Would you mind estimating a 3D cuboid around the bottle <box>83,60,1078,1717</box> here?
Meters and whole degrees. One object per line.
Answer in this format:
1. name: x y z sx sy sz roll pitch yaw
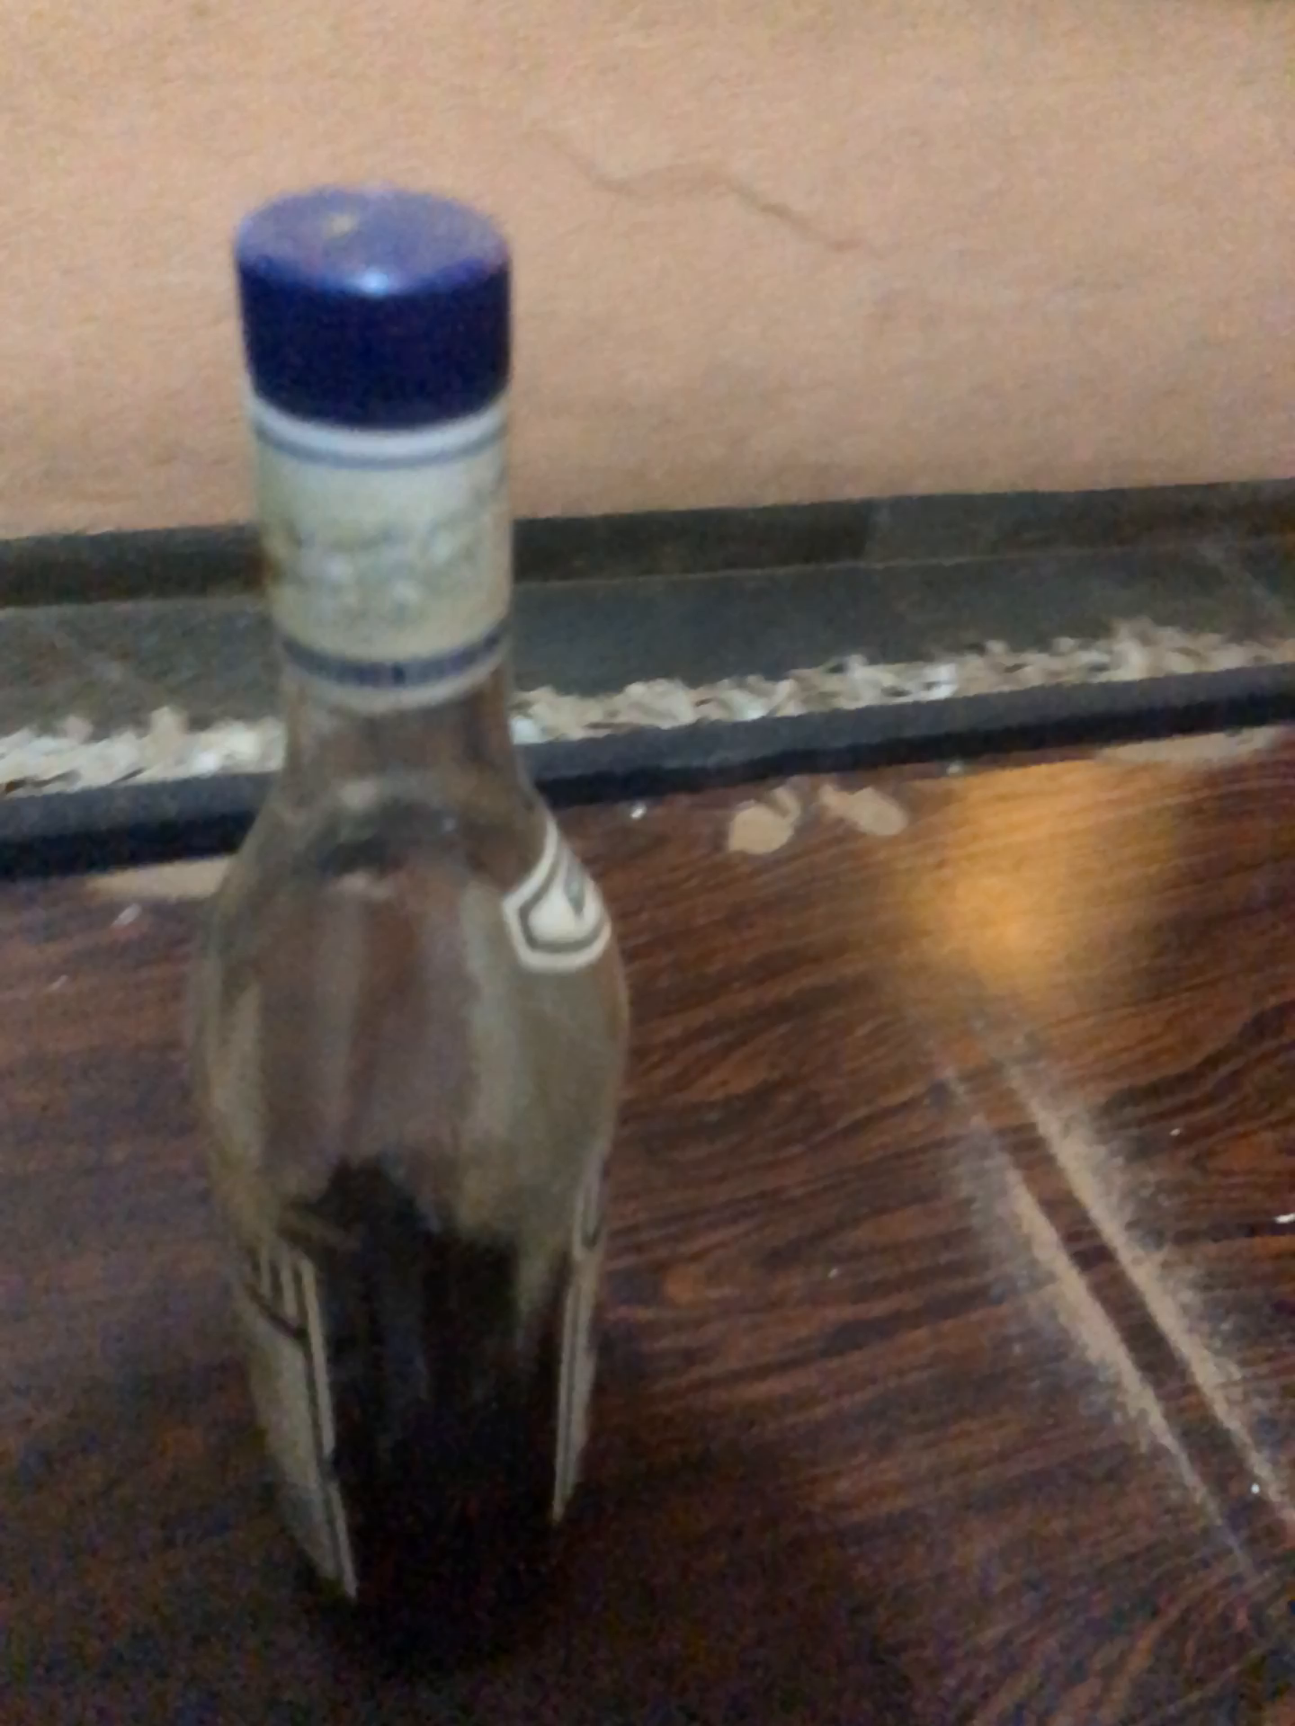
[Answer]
1. bottle: -0.032 0.037 0.258 0.090 0.298 0.101 -3 42 -15
